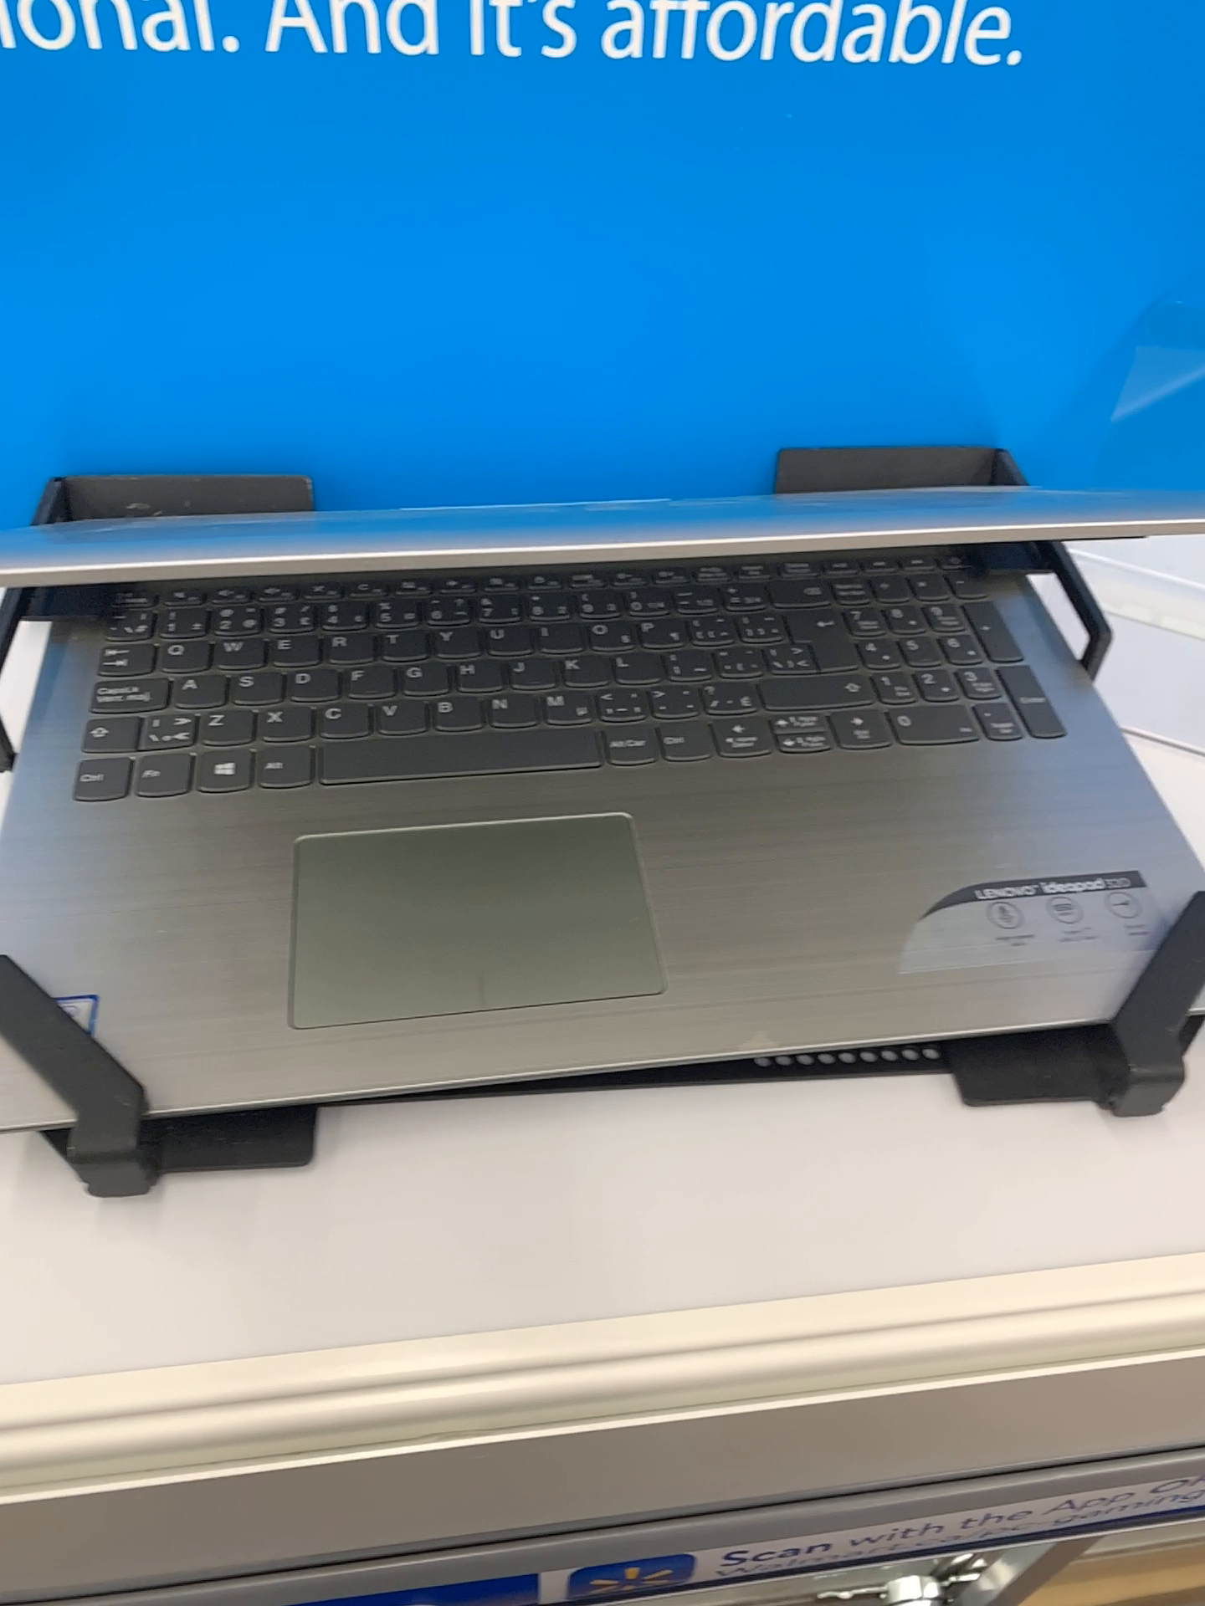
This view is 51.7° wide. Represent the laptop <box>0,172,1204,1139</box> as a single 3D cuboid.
[{"bbox_3d":[0.001,-0.062,0.330,0.326,0.115,0.230,-4,47,-8],"label":"laptop"}]
